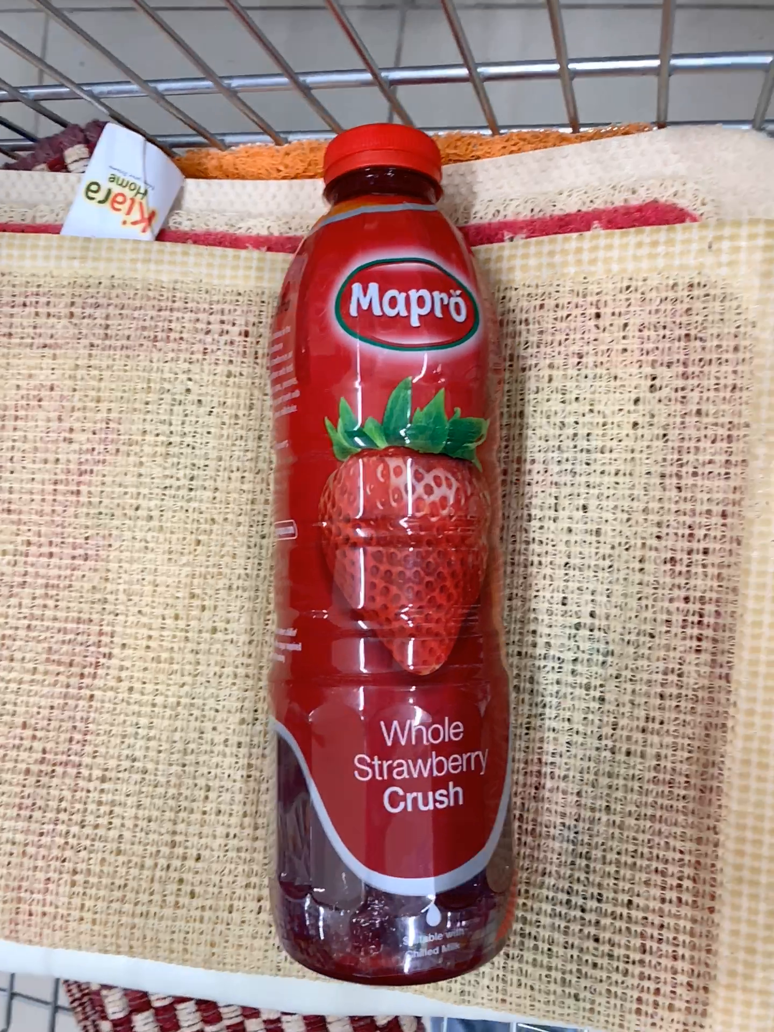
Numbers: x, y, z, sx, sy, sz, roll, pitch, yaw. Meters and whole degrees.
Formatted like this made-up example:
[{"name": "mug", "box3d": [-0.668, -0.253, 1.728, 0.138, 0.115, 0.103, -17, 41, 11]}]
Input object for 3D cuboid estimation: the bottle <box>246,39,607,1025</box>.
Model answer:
[{"name": "bottle", "box3d": [0.006, 0.005, 0.247, 0.090, 0.070, 0.250, 1, 91, -13]}]
